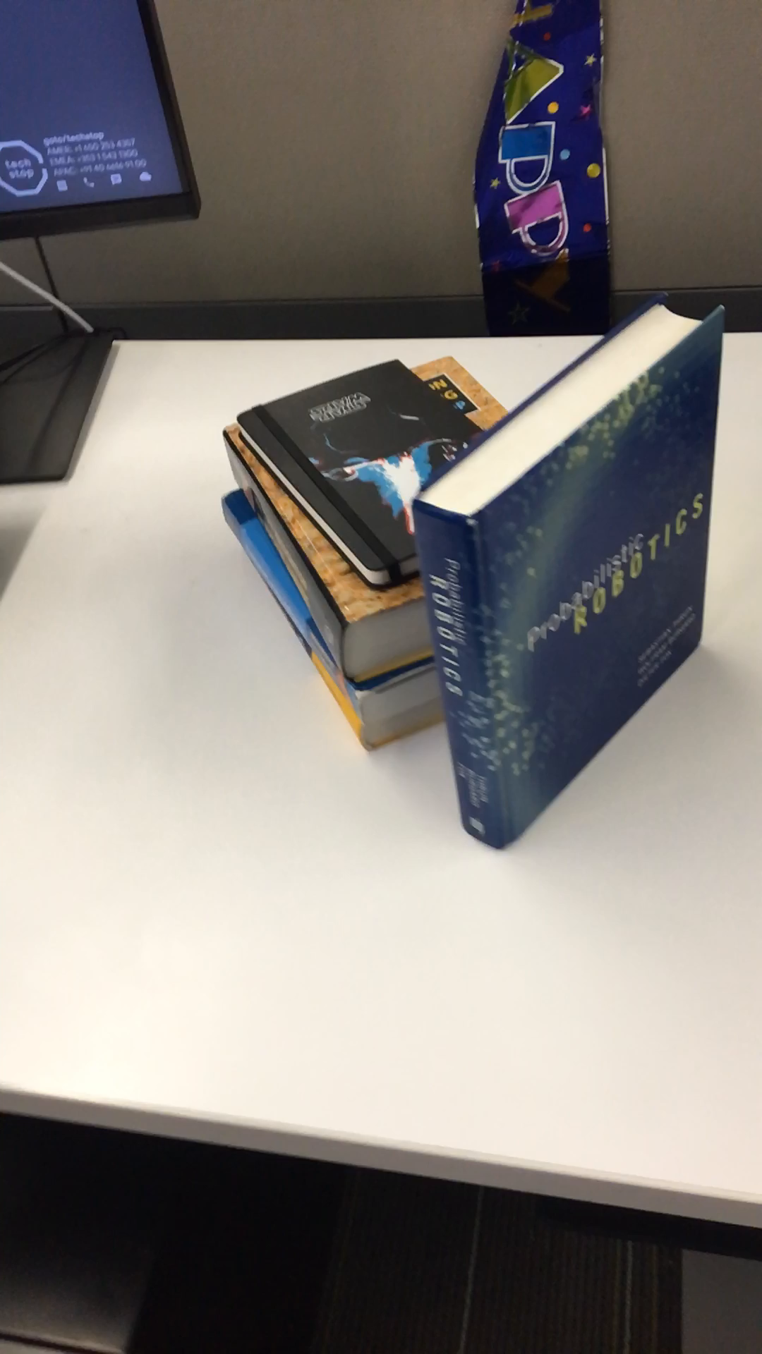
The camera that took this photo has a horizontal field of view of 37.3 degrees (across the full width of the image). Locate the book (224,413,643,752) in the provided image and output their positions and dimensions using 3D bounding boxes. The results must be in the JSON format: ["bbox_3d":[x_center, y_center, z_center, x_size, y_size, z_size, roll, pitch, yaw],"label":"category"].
[{"bbox_3d":[0.025,-0.079,0.775,0.190,0.030,0.260,-22,46,-12],"label":"book"}]

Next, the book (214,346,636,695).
[{"bbox_3d":[0.019,-0.113,0.724,0.180,0.050,0.240,-21,46,-12],"label":"book"}]

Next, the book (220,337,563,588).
[{"bbox_3d":[0.000,-0.141,0.696,0.130,0.020,0.200,-25,47,-16],"label":"book"}]

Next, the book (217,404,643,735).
[{"bbox_3d":[0.023,-0.085,0.752,0.190,0.030,0.240,-23,46,-14],"label":"book"}]

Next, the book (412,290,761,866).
[{"bbox_3d":[0.114,-0.048,0.601,0.050,0.230,0.210,29,56,32],"label":"book"}]
